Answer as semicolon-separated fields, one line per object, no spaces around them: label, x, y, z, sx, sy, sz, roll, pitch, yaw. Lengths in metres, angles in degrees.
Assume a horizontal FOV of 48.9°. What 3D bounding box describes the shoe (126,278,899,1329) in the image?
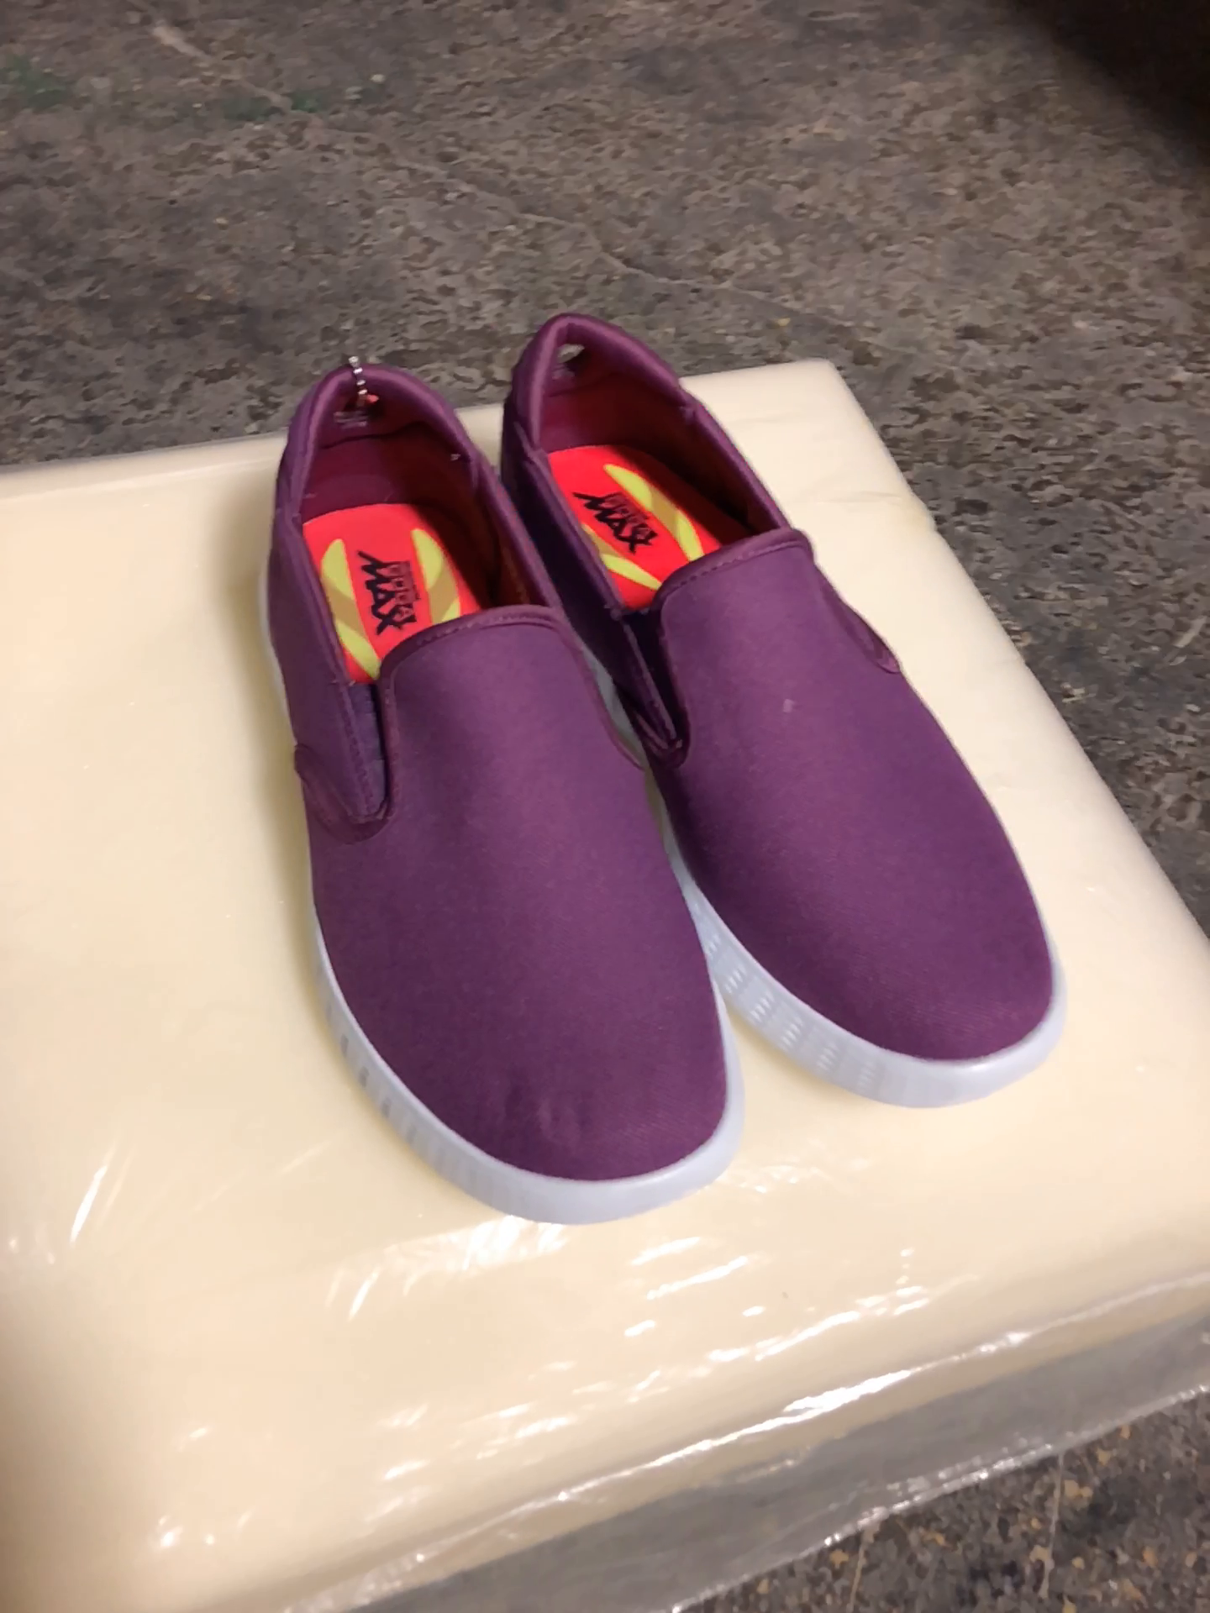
shoe;-0.041;-0.019;0.353;0.100;0.089;0.261;-16;57;-16

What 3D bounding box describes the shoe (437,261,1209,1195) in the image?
shoe;0.047;-0.036;0.369;0.100;0.089;0.241;-20;58;-19
